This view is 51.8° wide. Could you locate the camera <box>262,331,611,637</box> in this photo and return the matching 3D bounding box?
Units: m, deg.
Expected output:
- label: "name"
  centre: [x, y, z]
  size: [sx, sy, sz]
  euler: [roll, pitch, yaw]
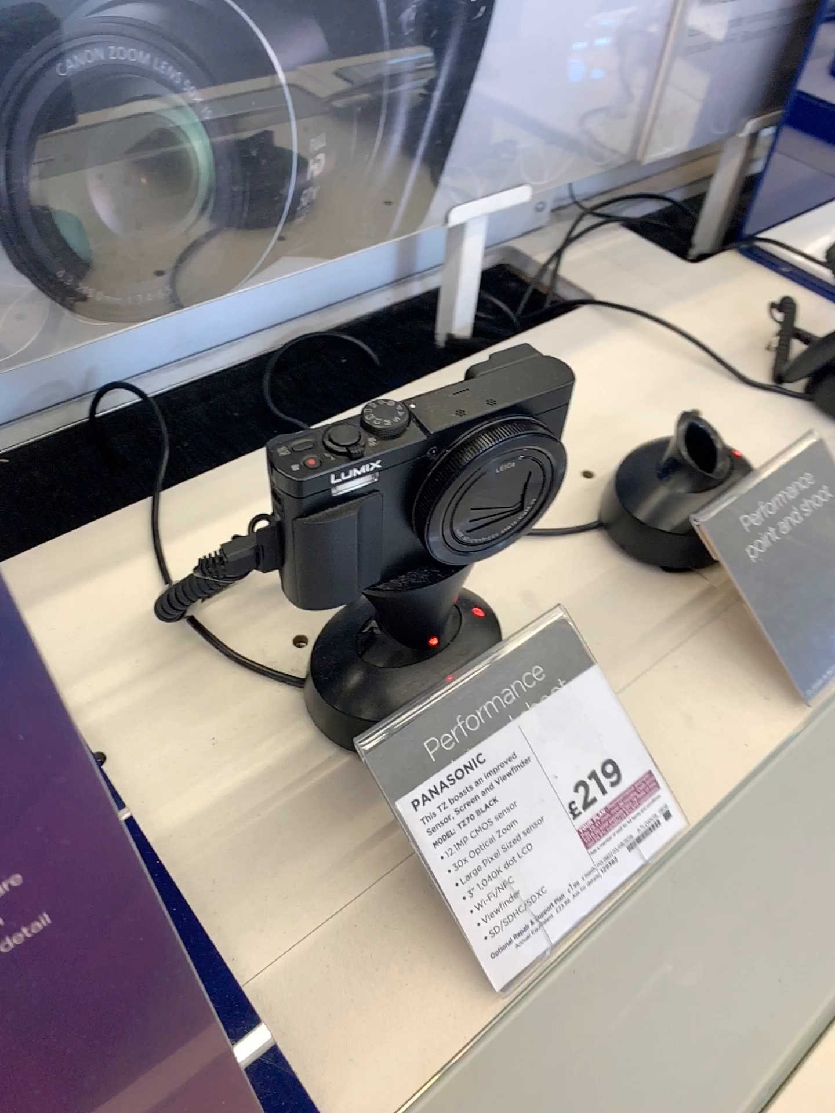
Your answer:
- label: "camera"
  centre: [0.006, -0.026, 0.292]
  size: [0.110, 0.069, 0.030]
  euler: [-22, 53, -24]
